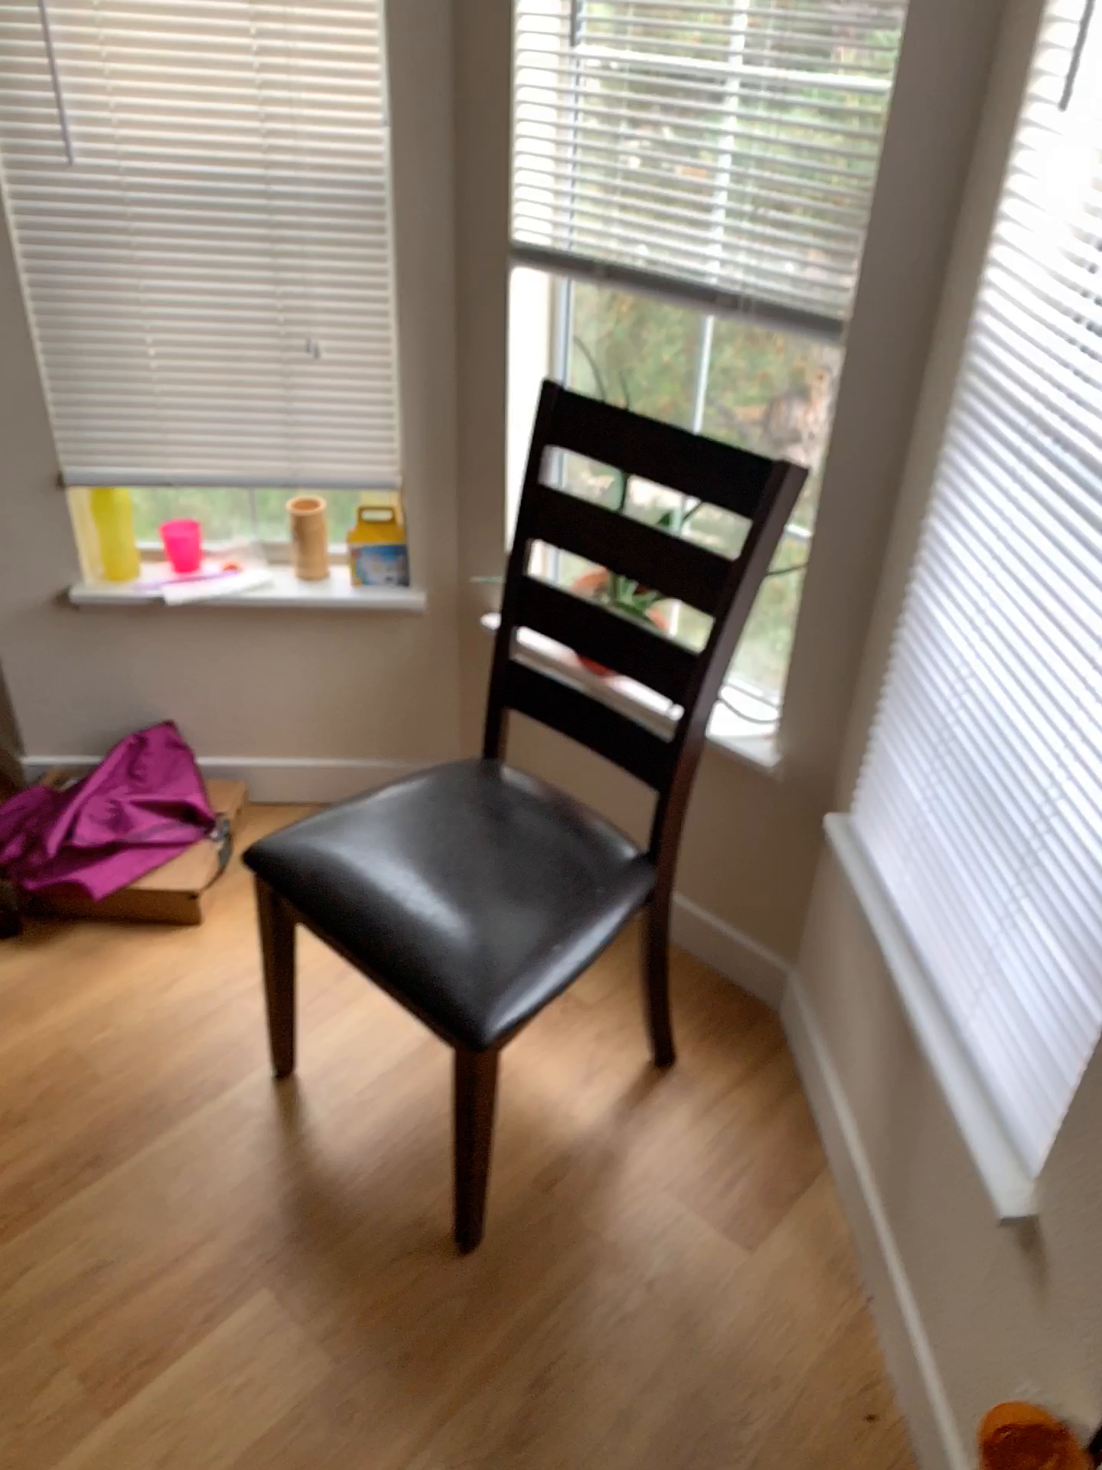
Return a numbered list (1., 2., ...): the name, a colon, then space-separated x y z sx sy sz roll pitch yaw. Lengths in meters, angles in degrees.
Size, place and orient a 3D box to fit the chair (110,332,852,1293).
1. chair: -0.087 0.076 1.458 0.561 0.945 0.542 29 42 33
